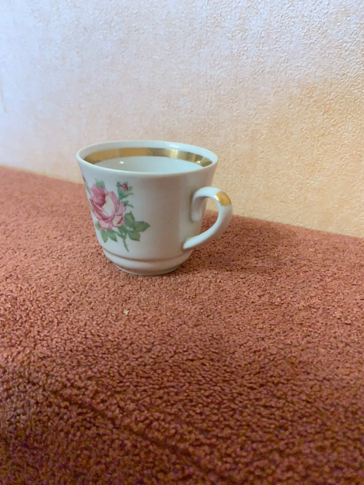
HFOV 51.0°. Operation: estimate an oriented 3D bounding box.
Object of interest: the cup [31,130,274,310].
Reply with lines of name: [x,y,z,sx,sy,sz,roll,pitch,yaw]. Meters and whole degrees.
cup: [-0.013,-0.019,0.180,0.086,0.047,0.067,19,32,34]
